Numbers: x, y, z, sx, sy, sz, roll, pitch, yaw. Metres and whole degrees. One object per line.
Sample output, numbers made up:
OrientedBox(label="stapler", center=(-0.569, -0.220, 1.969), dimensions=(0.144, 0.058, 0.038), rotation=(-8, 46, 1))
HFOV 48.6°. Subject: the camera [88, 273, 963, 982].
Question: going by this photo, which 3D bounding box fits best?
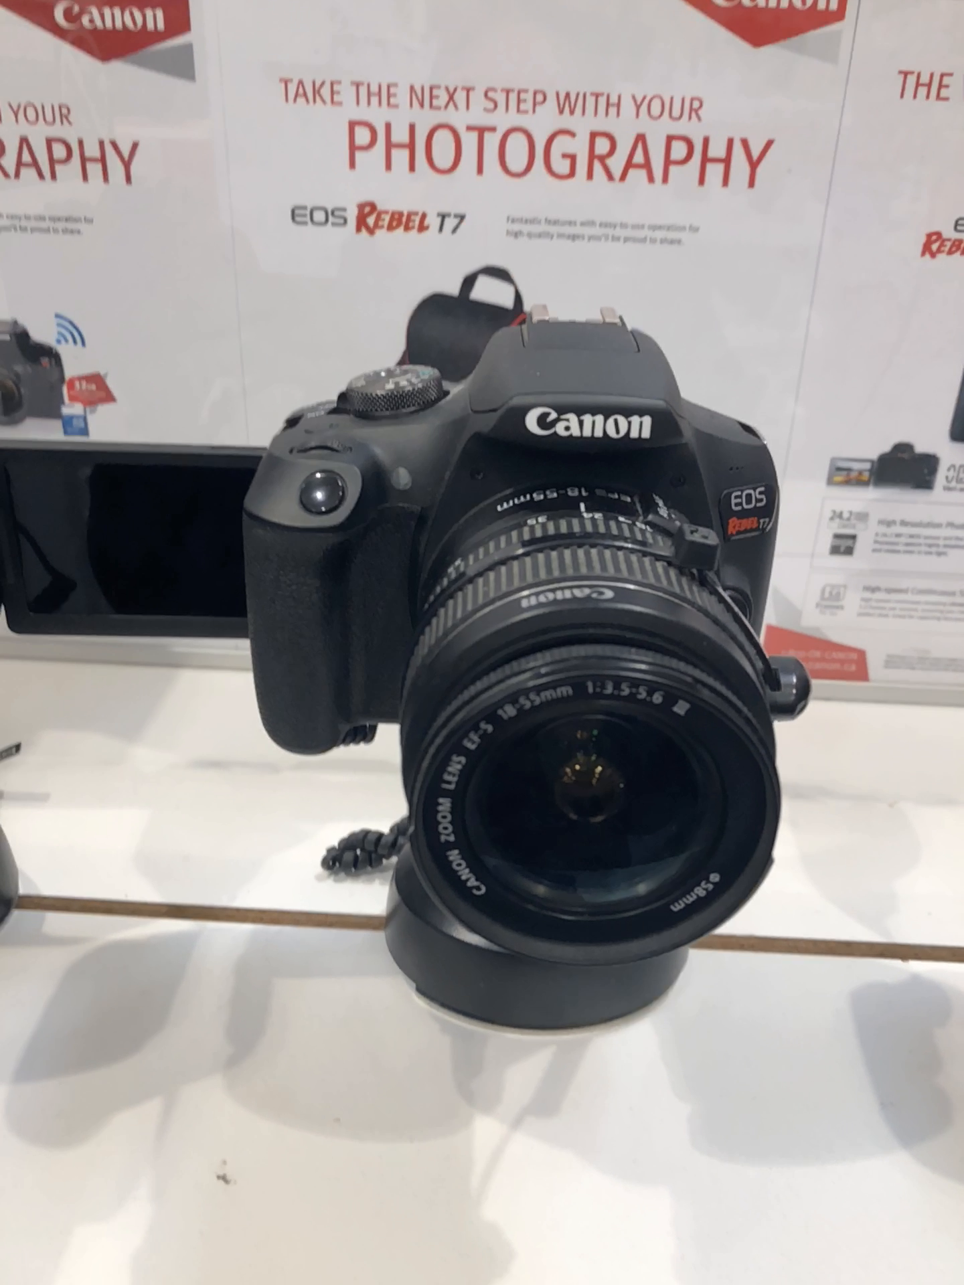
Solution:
OrientedBox(label="camera", center=(0.009, -0.017, 0.243), dimensions=(0.130, 0.099, 0.141), rotation=(4, 28, 3))
